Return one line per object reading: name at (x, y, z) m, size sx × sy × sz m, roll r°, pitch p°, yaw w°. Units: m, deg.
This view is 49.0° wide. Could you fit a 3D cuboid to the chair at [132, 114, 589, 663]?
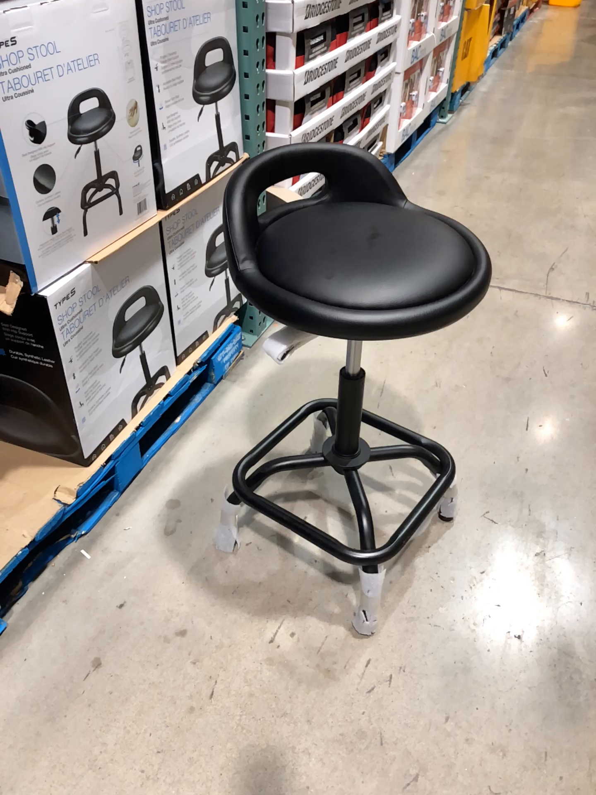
chair at (0.100, -0.033, 1.210) m, size 0.511 × 0.747 × 0.481 m, roll 24°, pitch 43°, yaw 26°
